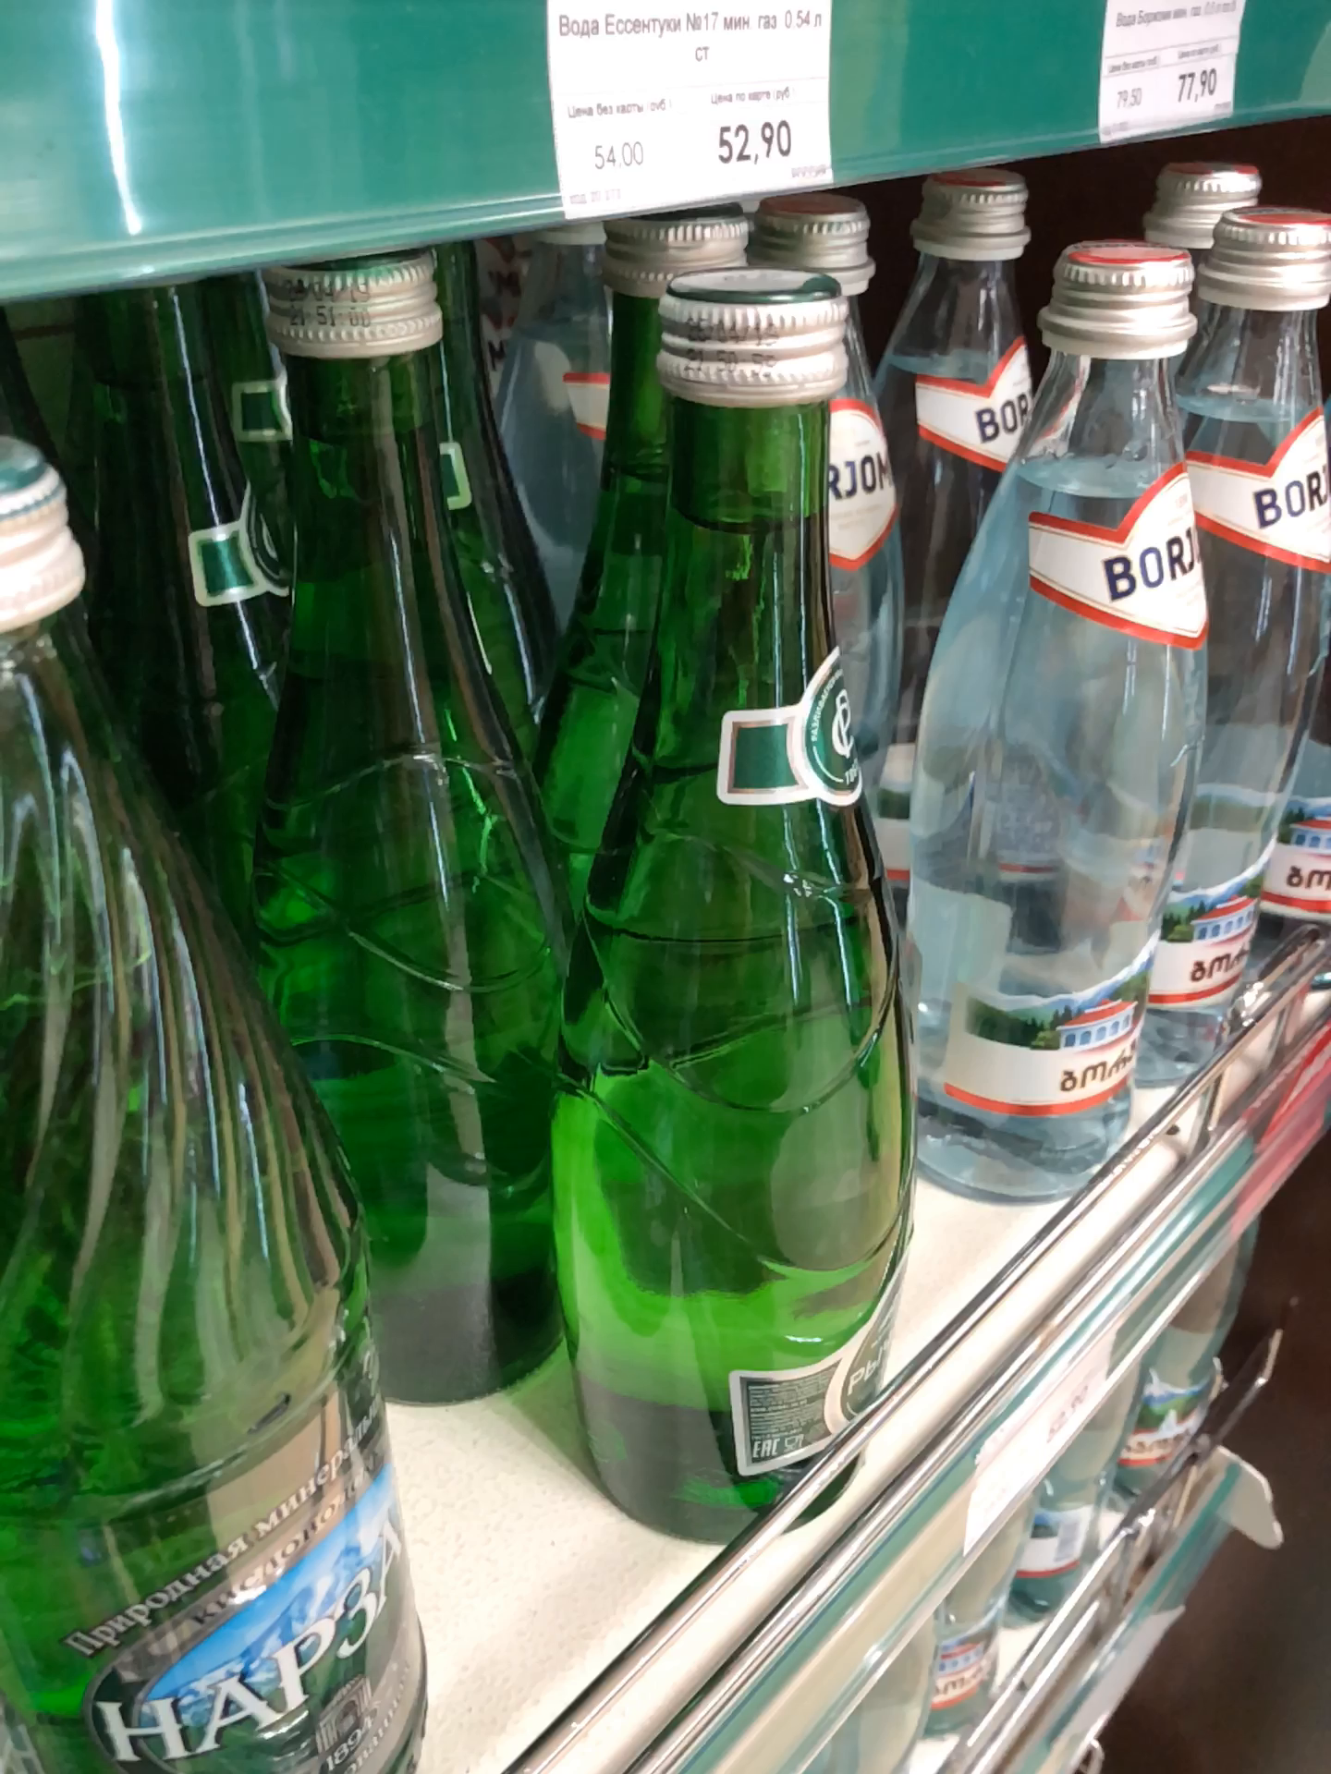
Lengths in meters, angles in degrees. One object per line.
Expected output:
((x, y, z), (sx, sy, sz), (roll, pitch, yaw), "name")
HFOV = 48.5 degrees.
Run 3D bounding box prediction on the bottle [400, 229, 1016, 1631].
((0.011, 0.020, 0.286), (0.070, 0.258, 0.080), (10, 33, 17), "bottle")
